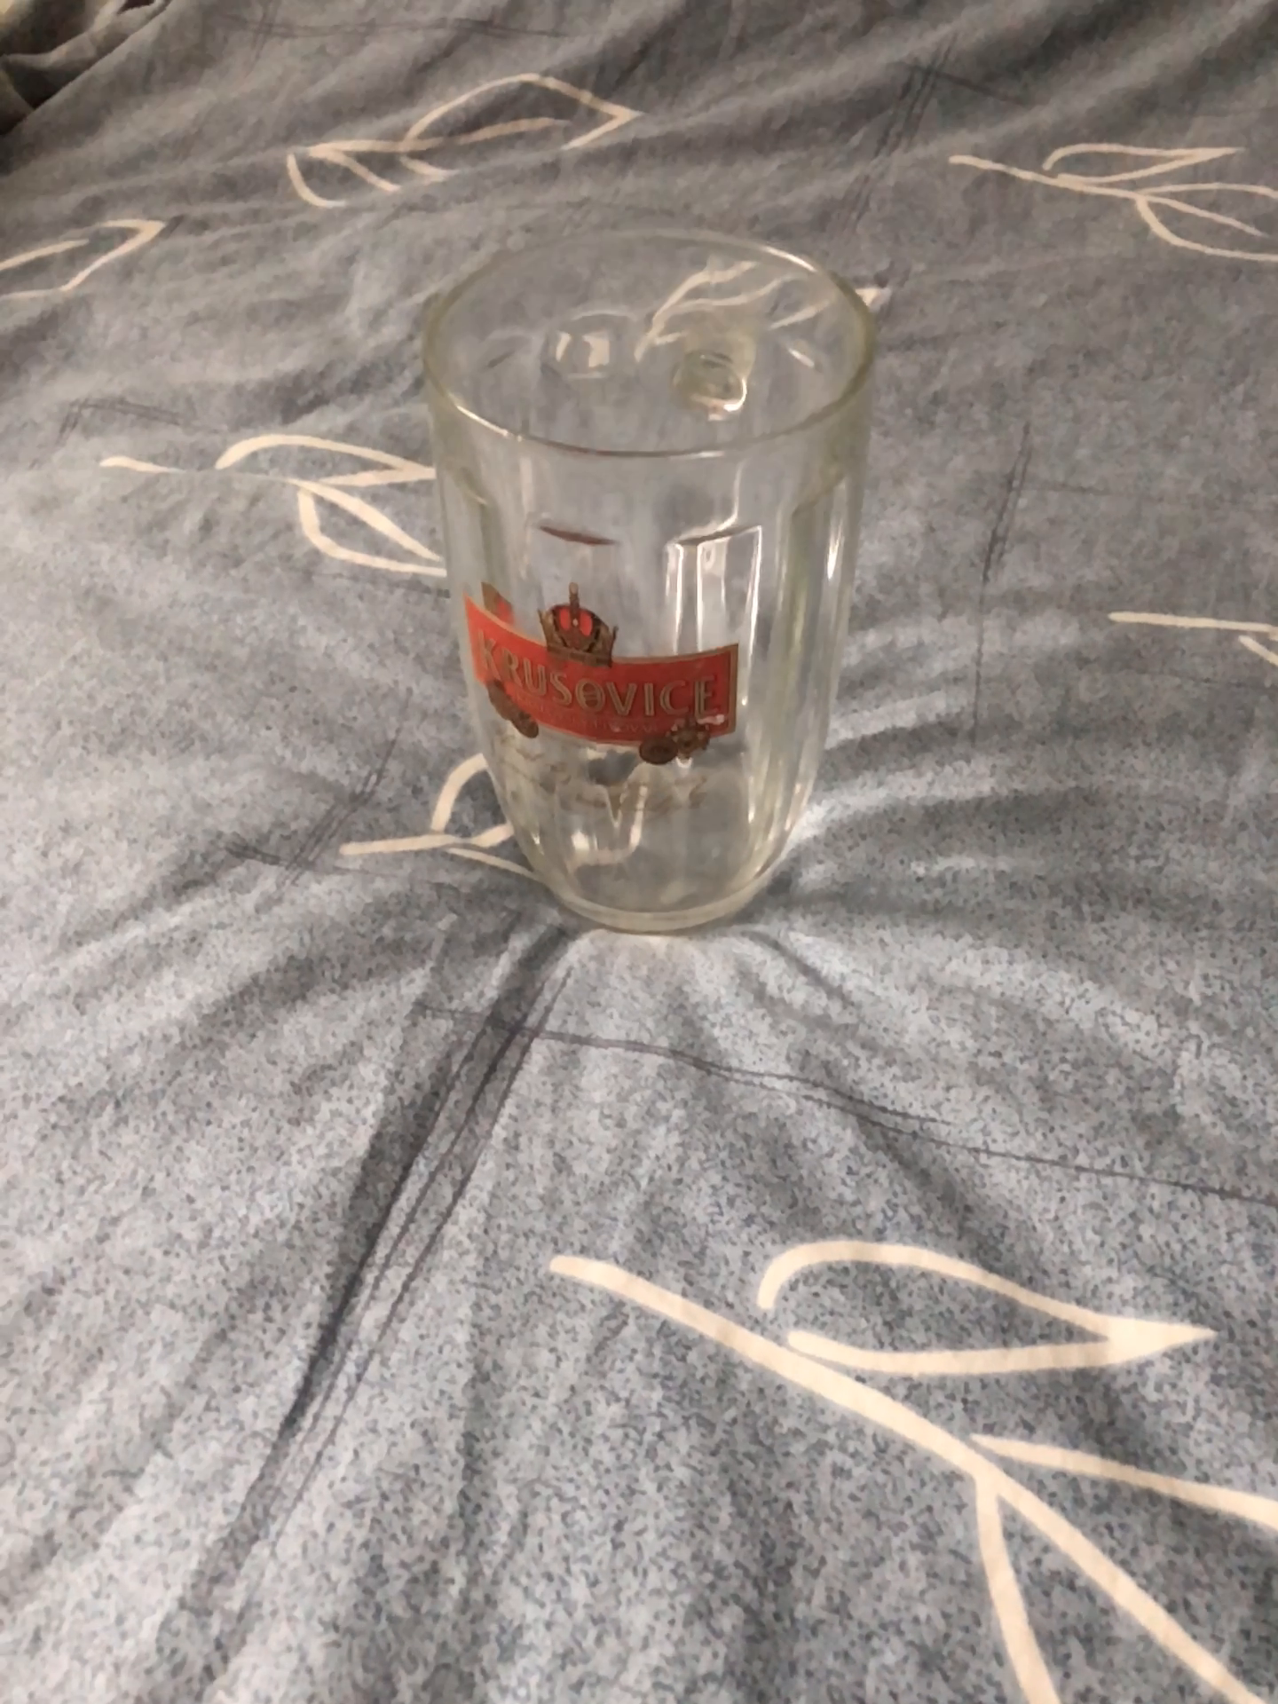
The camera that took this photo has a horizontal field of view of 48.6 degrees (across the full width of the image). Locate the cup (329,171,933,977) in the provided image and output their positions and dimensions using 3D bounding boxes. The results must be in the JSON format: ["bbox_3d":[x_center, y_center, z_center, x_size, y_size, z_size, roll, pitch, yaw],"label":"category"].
[{"bbox_3d":[0.008,-0.070,0.346,0.091,0.136,0.128,11,46,15],"label":"cup"}]
